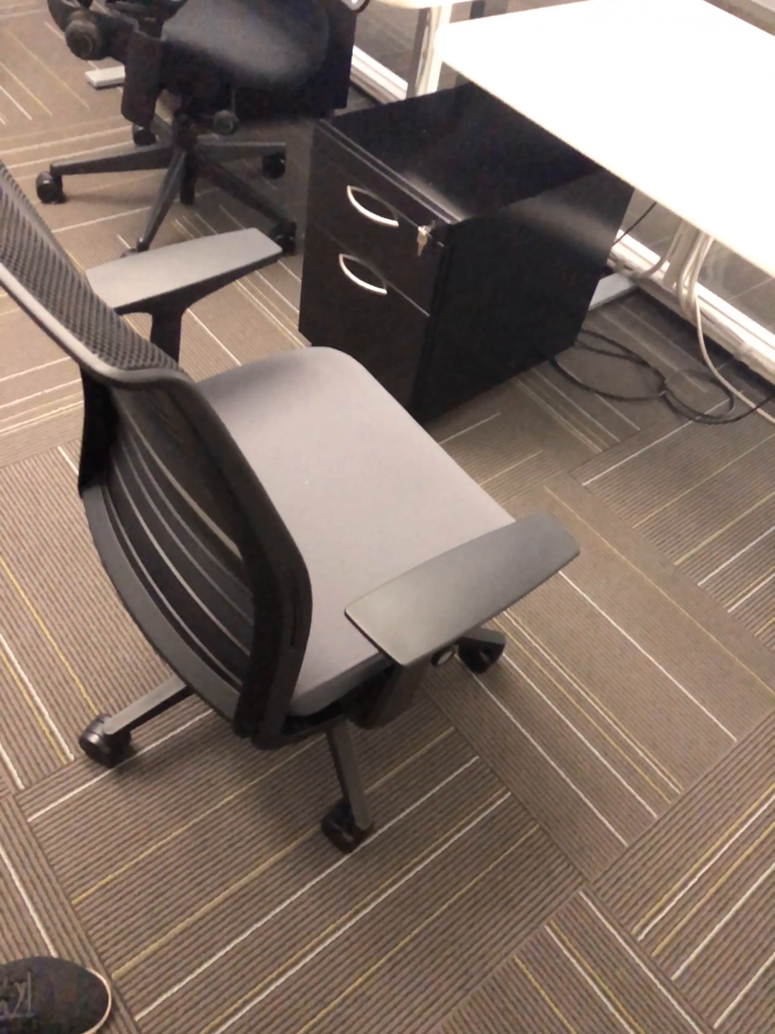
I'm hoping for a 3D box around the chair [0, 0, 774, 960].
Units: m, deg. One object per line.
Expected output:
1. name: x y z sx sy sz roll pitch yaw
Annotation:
1. chair: -0.119 -0.094 1.086 0.681 0.906 0.722 -29 60 -30
